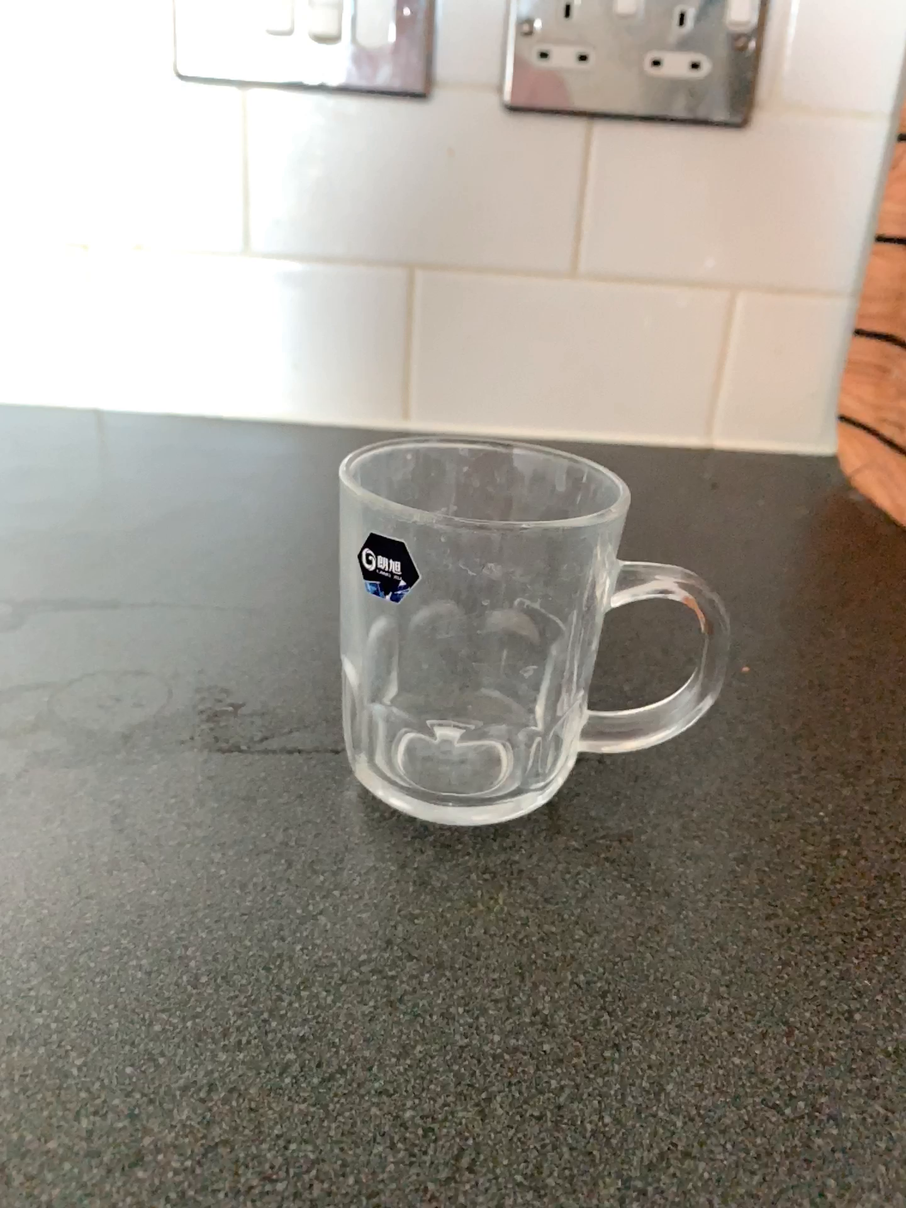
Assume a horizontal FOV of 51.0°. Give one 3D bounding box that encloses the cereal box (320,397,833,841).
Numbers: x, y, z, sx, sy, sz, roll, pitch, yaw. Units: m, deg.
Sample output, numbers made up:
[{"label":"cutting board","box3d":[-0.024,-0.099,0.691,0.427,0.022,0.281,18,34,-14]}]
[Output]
[{"label":"cereal box","box3d":[0.023,0.000,0.257,0.110,0.089,0.081,2,24,-4]}]
